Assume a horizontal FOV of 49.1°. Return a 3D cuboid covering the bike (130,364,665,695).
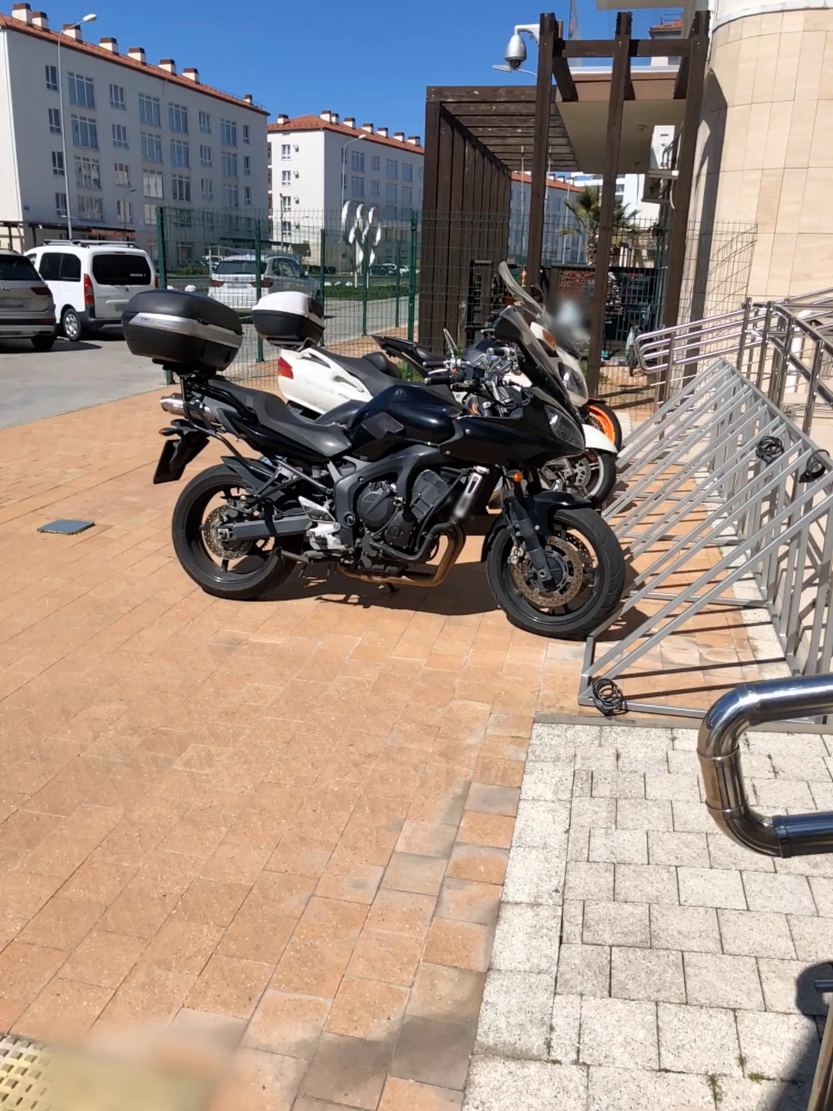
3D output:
[{"bbox_3d":[-0.154,-0.174,3.571,1.919,1.003,0.607,6,15,13],"label":"bike"}]
